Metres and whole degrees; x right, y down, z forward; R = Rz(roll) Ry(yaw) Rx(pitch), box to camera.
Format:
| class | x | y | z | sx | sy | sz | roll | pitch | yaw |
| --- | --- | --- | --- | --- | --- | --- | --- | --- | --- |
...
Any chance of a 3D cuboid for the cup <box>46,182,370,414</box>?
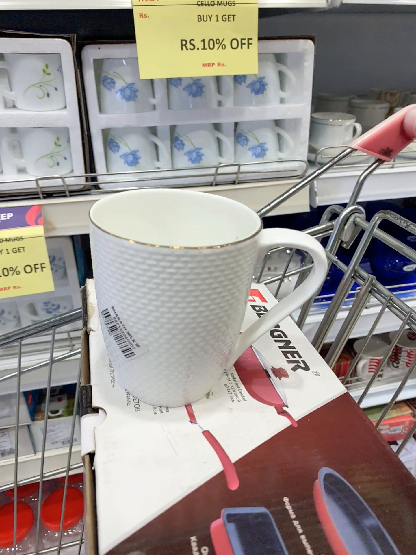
| class | x | y | z | sx | sy | sz | roll | pitch | yaw |
| --- | --- | --- | --- | --- | --- | --- | --- | --- | --- |
| cup | -0.002 | 0.006 | 0.218 | 0.120 | 0.080 | 0.090 | 1 | 29 | -3 |
